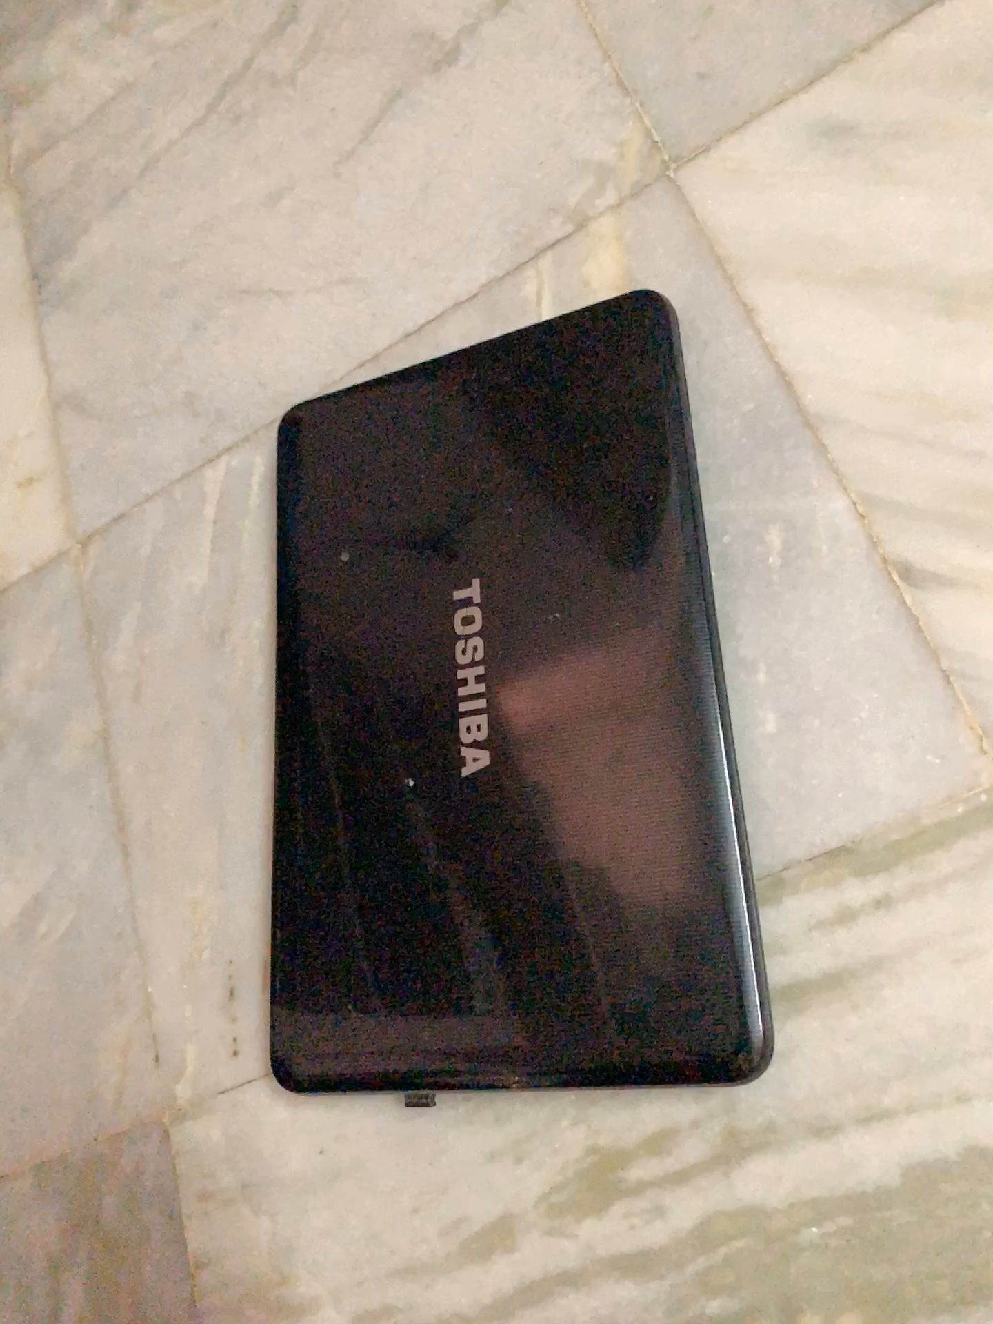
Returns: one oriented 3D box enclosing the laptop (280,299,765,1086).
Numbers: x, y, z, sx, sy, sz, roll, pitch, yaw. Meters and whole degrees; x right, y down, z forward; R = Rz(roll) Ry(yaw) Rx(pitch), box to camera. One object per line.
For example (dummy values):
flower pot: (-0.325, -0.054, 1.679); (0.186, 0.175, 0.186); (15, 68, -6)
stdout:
laptop: (-0.010, 0.010, 0.493); (0.223, 0.003, 0.355); (-11, 71, 21)
